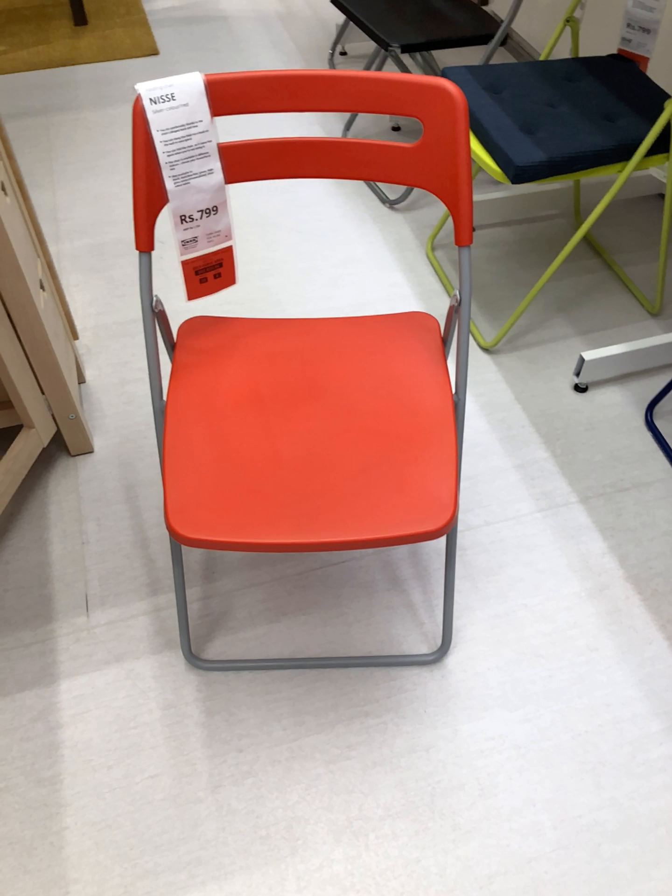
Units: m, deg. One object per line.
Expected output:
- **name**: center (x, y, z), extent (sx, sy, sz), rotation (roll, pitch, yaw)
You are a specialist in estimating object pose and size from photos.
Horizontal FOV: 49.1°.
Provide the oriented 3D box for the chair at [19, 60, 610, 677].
- **chair**: center (-0.025, -0.075, 0.952), extent (0.450, 0.606, 0.493), rotation (-2, 50, -2)
